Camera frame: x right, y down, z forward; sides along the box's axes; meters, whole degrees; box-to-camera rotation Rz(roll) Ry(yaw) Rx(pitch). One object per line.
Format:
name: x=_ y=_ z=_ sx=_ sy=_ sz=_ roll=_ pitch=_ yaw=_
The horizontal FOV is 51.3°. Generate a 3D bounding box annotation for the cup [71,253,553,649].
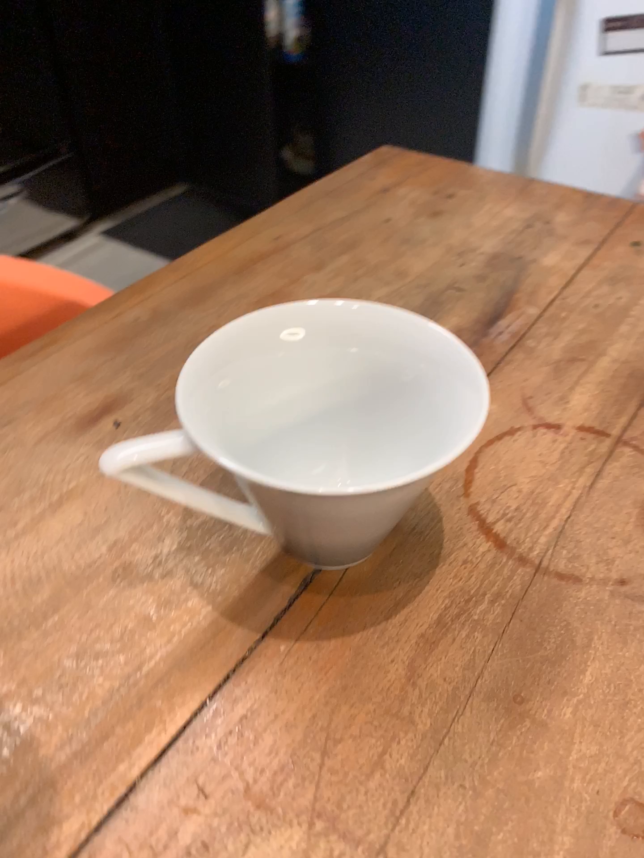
cup: x=-0.010 y=0.000 z=0.214 sx=0.120 sy=0.060 sz=0.090 roll=-11 pitch=43 yaw=-10
